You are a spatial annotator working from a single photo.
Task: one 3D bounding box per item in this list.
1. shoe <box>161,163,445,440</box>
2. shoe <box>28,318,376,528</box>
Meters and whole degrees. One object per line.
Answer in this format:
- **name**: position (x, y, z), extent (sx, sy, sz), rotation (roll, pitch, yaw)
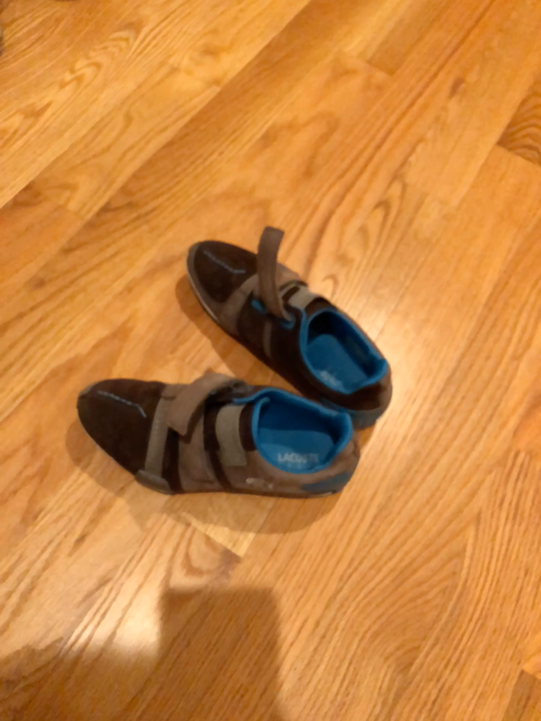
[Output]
- **shoe**: position (0.022, -0.059, 0.584), extent (0.255, 0.092, 0.102), rotation (42, 67, 13)
- **shoe**: position (-0.051, 0.057, 0.515), extent (0.255, 0.092, 0.102), rotation (12, 63, -1)
